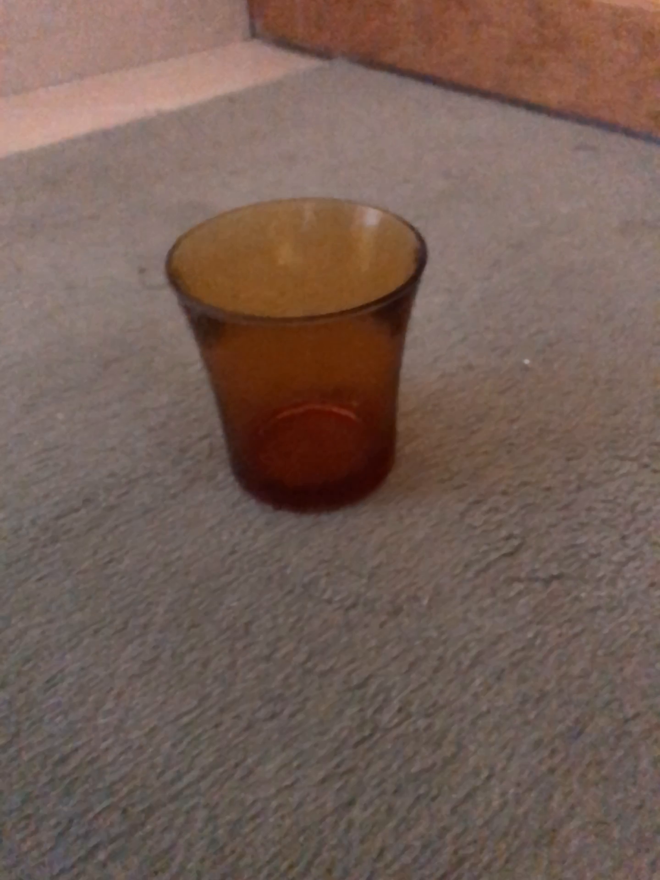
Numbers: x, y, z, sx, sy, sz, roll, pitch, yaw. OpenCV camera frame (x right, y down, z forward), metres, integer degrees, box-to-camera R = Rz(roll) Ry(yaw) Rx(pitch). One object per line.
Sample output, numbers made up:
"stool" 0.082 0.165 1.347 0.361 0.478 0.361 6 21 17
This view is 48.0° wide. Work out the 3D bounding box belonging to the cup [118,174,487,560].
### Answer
"cup" -0.006 -0.026 0.220 0.070 0.070 0.070 -3 40 2
